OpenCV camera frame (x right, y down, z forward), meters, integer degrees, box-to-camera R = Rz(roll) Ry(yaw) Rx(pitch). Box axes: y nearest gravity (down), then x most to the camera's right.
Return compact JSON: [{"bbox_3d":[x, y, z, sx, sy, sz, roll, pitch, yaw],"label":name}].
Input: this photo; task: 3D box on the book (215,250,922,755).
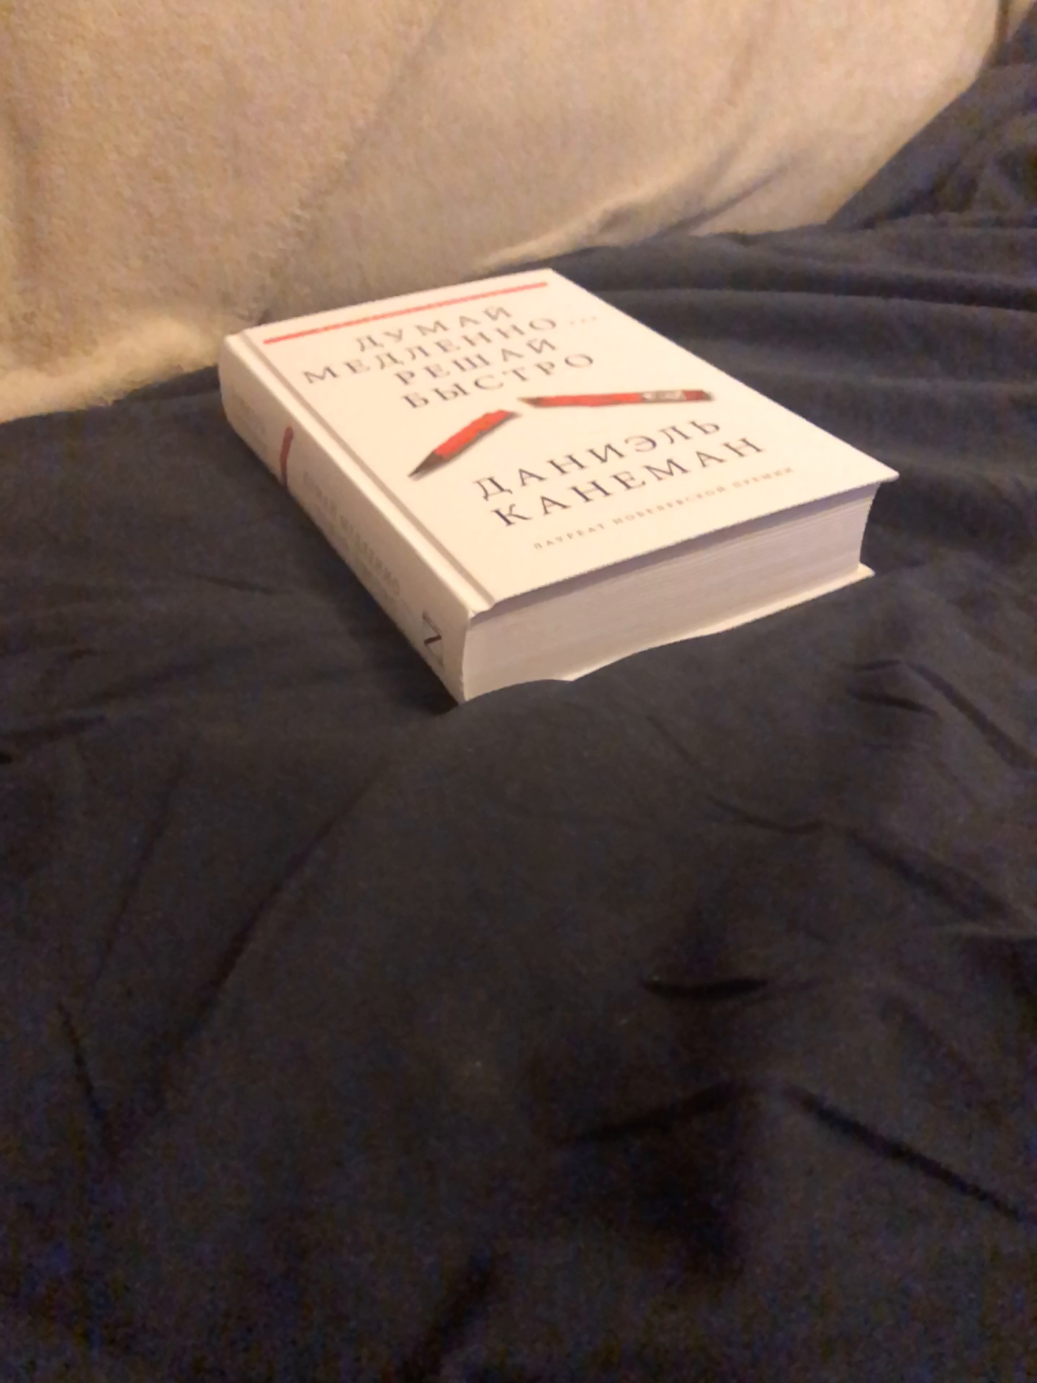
[{"bbox_3d":[0.002,-0.085,0.402,0.149,0.050,0.220,-19,42,-21],"label":"book"}]
